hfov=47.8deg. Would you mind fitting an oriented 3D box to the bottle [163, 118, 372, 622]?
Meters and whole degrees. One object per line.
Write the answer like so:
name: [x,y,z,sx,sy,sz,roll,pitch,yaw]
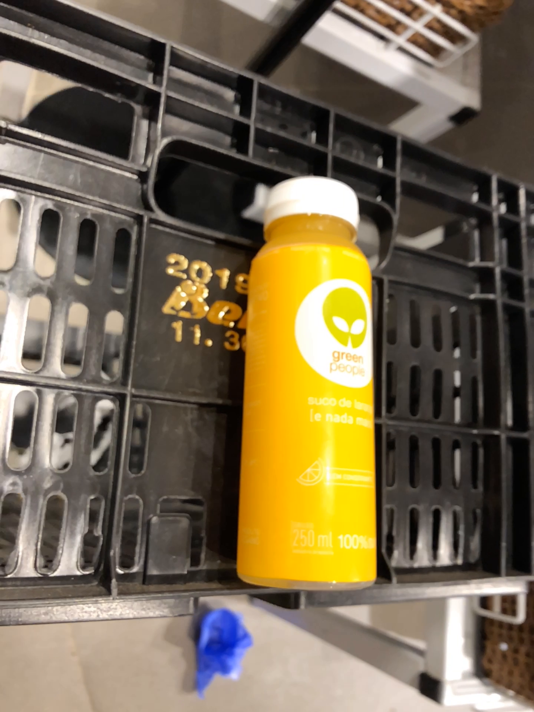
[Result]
bottle: [0.001,0.005,0.244,0.060,0.050,0.180,9,73,-27]
